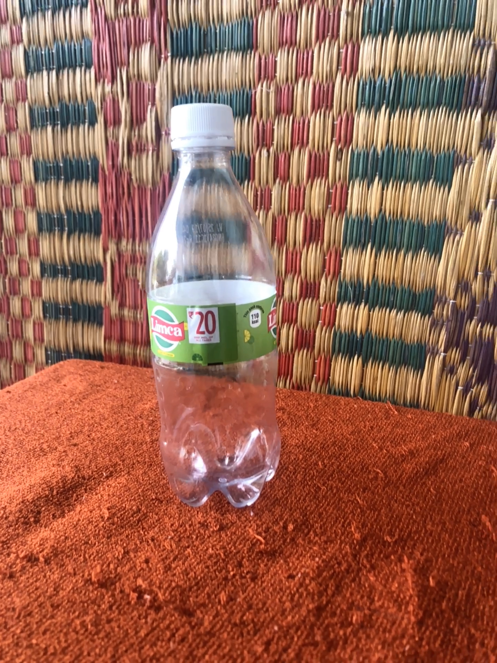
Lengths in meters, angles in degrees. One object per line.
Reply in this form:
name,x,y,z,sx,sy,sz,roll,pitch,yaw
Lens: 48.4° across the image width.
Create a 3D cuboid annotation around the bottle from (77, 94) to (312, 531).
bottle,-0.016,-0.010,0.222,0.060,0.149,0.060,-1,18,0
